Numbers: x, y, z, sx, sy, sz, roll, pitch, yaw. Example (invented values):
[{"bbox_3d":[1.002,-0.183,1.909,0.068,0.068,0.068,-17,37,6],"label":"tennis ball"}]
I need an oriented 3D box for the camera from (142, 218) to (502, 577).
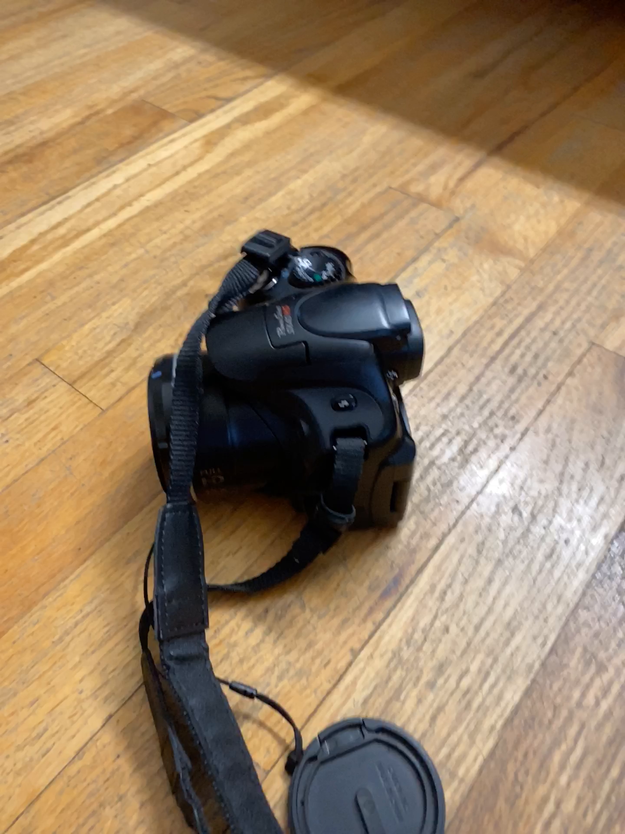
[{"bbox_3d":[-0.002,-0.010,0.286,0.120,0.090,0.121,-5,52,-4],"label":"camera"}]
